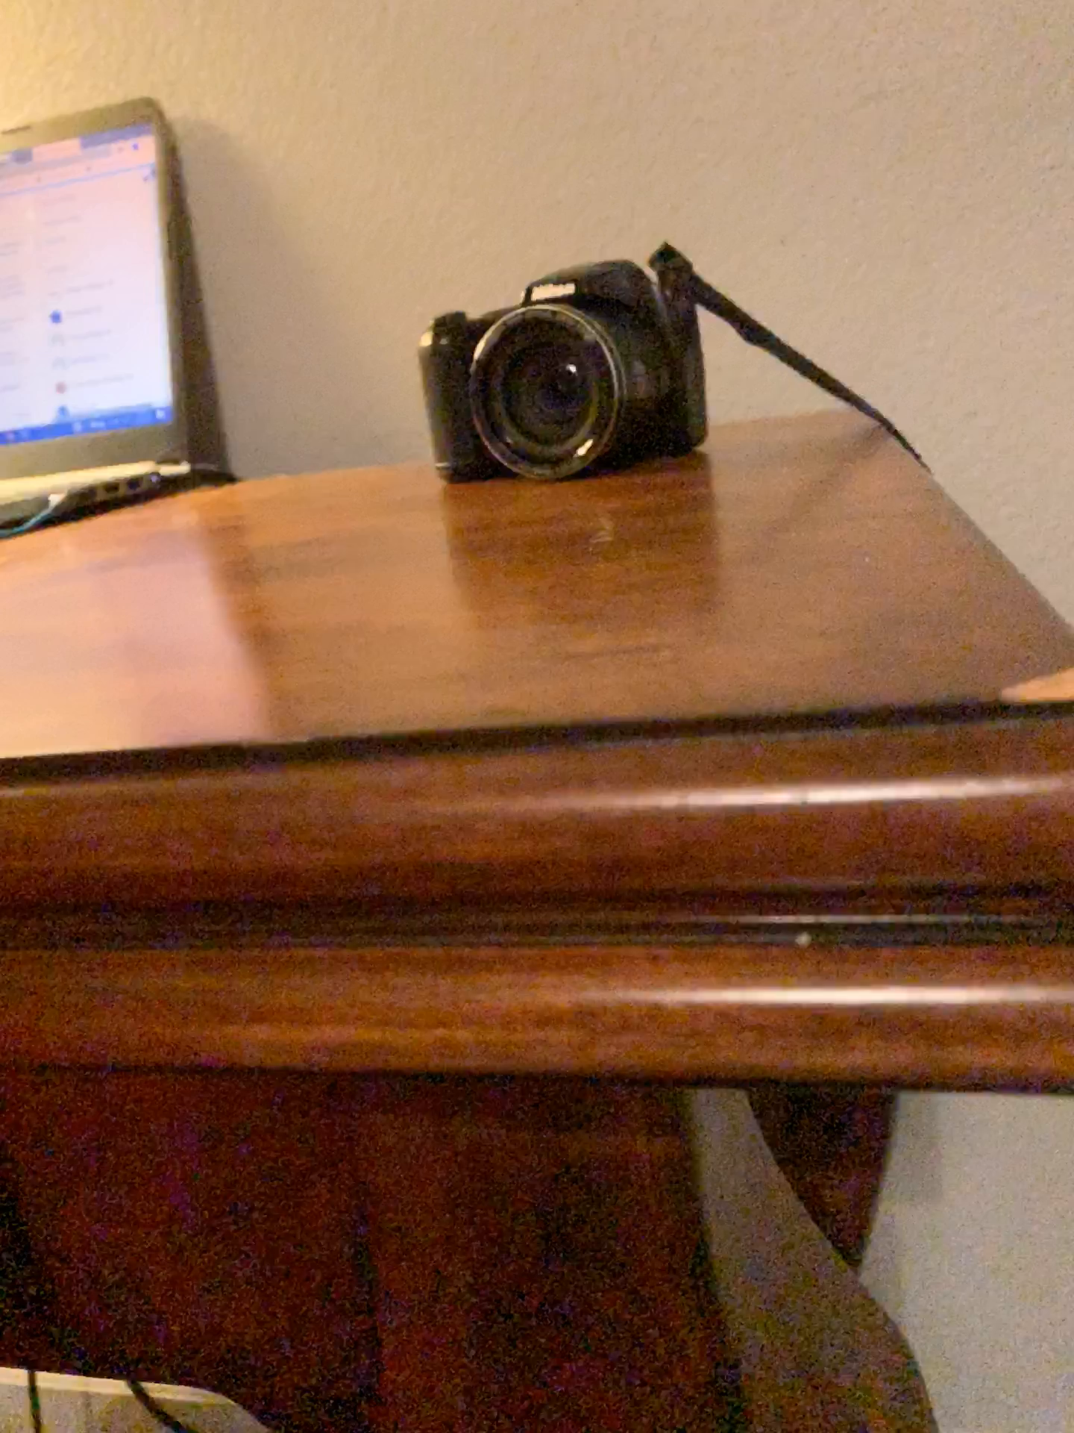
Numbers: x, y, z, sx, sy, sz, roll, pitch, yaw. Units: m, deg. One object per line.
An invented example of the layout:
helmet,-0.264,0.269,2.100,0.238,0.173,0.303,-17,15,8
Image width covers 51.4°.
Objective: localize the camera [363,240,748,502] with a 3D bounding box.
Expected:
camera,0.014,-0.145,0.474,0.110,0.081,0.123,1,18,29
